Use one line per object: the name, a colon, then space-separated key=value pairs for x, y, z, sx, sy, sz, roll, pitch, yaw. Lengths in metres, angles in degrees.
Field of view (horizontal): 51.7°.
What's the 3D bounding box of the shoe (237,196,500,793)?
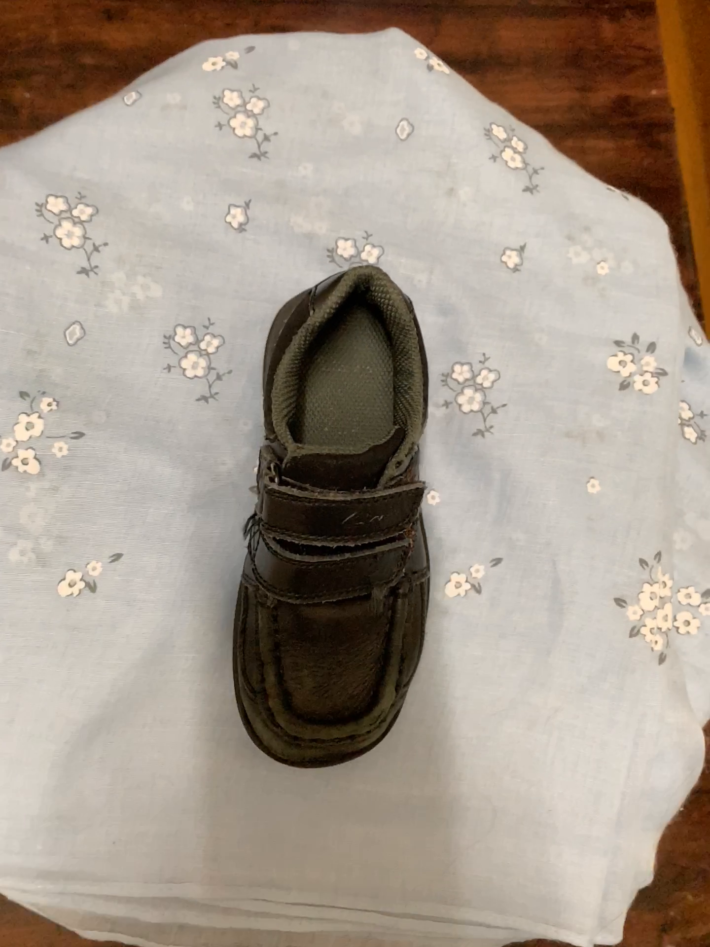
shoe: x=0.003 y=0.008 z=0.273 sx=0.078 sy=0.073 sz=0.190 roll=4 pitch=82 yaw=-8
